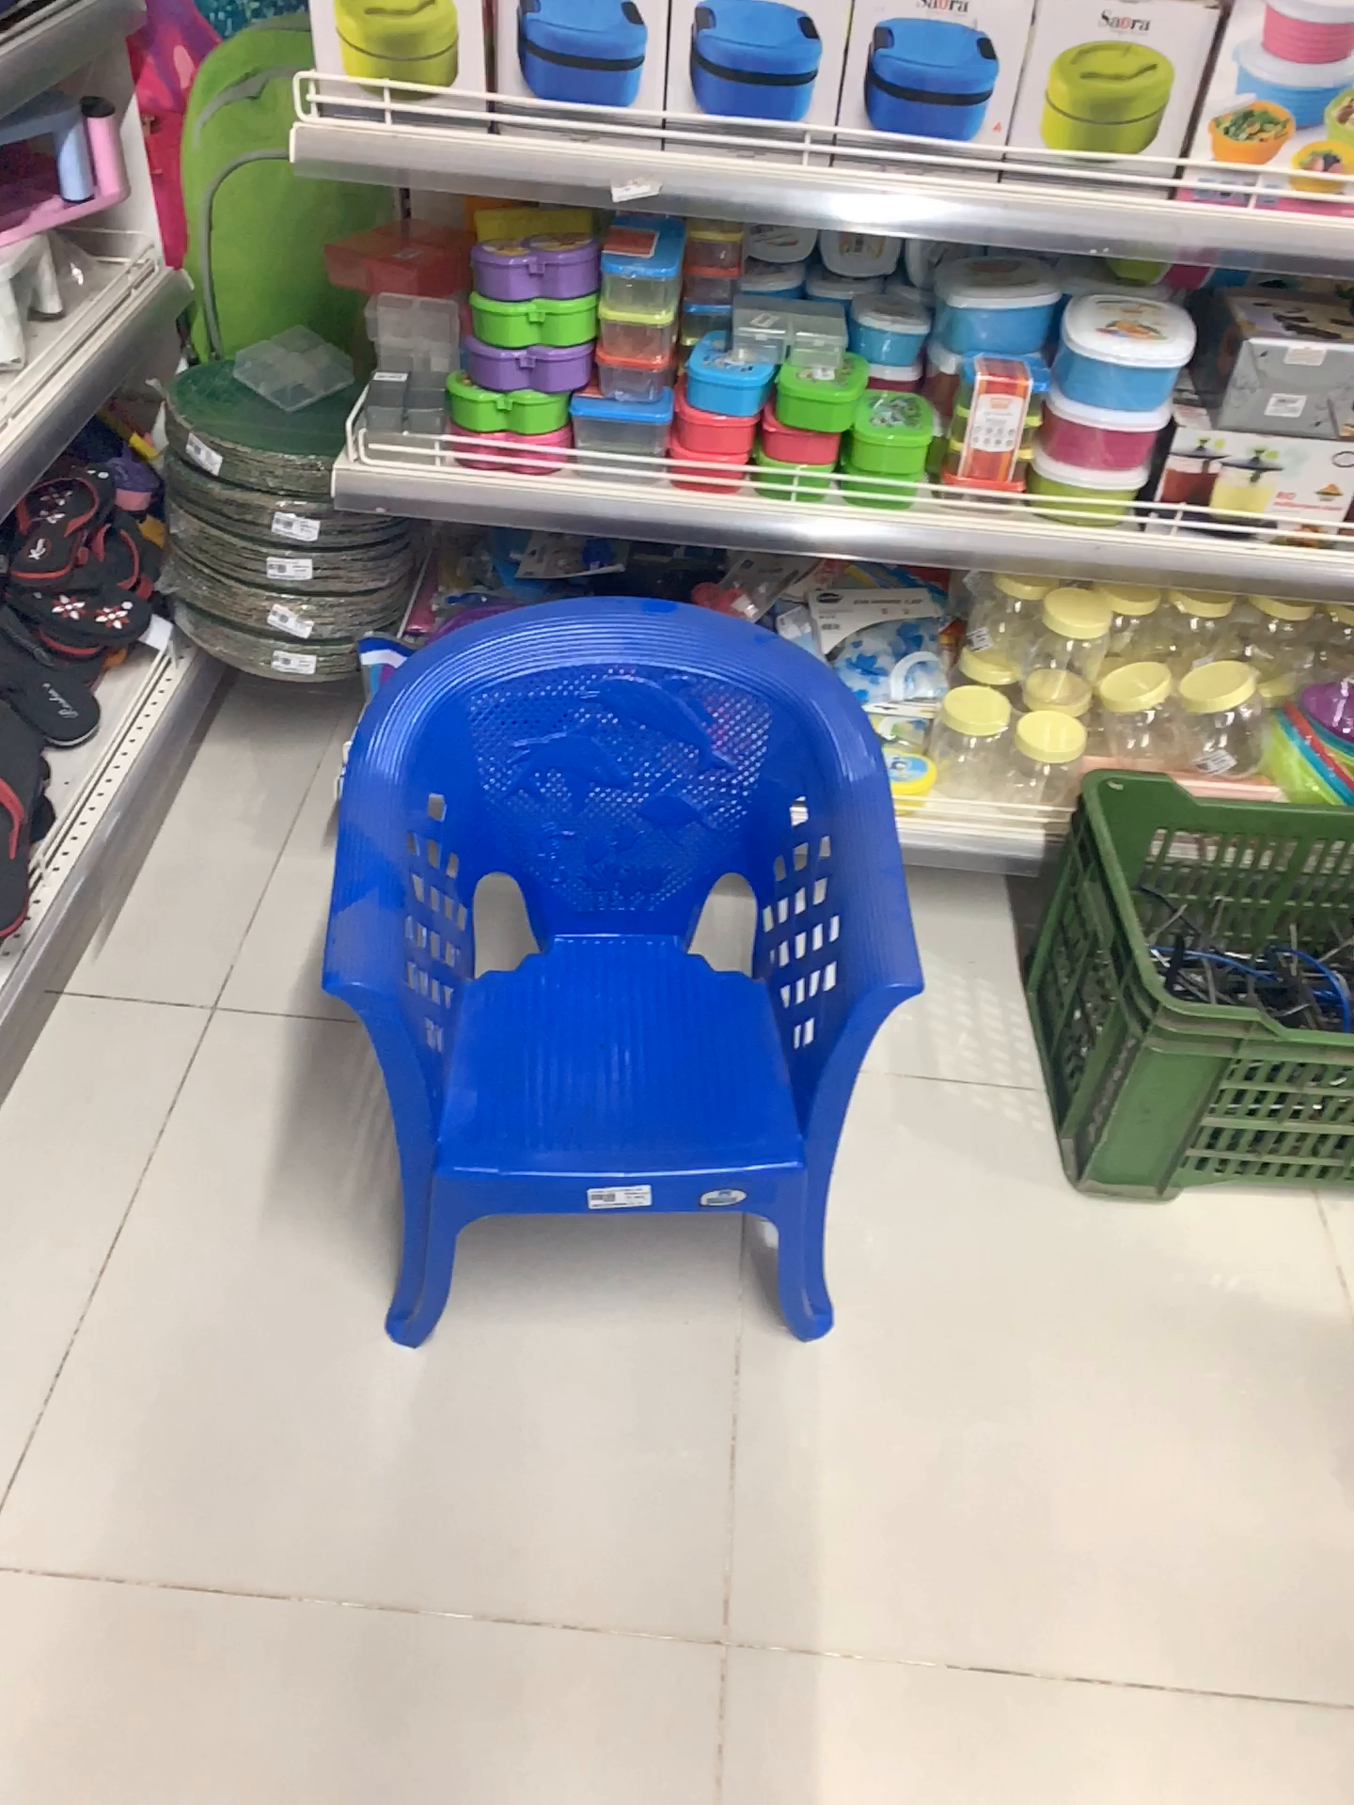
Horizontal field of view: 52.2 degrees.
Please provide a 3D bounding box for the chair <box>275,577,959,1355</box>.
[{"bbox_3d":[-0.060,0.052,1.172,0.420,0.468,0.452,0,44,-5],"label":"chair"}]
